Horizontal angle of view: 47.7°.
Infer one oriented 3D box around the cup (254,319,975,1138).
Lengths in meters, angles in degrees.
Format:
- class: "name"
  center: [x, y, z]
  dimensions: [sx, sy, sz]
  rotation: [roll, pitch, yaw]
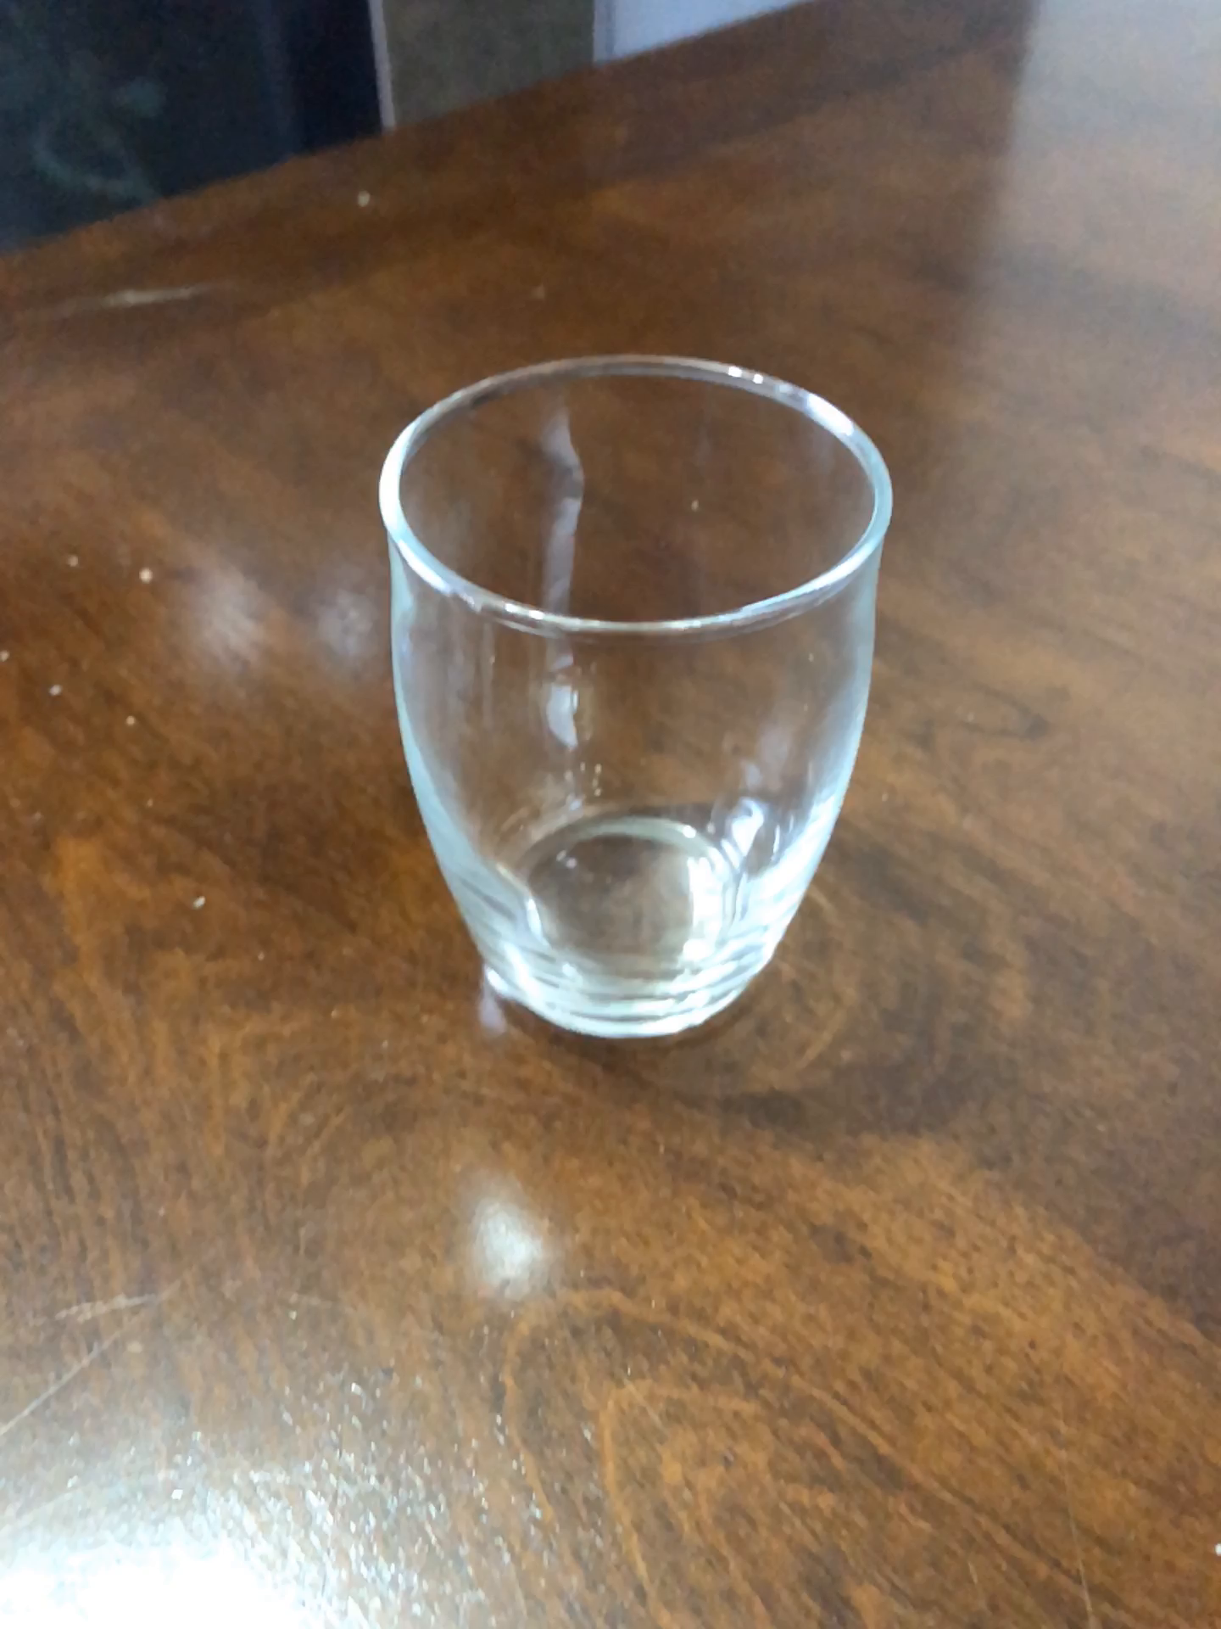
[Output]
- class: "cup"
  center: [0.003, -0.012, 0.180]
  dimensions: [0.060, 0.070, 0.060]
  rotation: [0, 45, 0]
